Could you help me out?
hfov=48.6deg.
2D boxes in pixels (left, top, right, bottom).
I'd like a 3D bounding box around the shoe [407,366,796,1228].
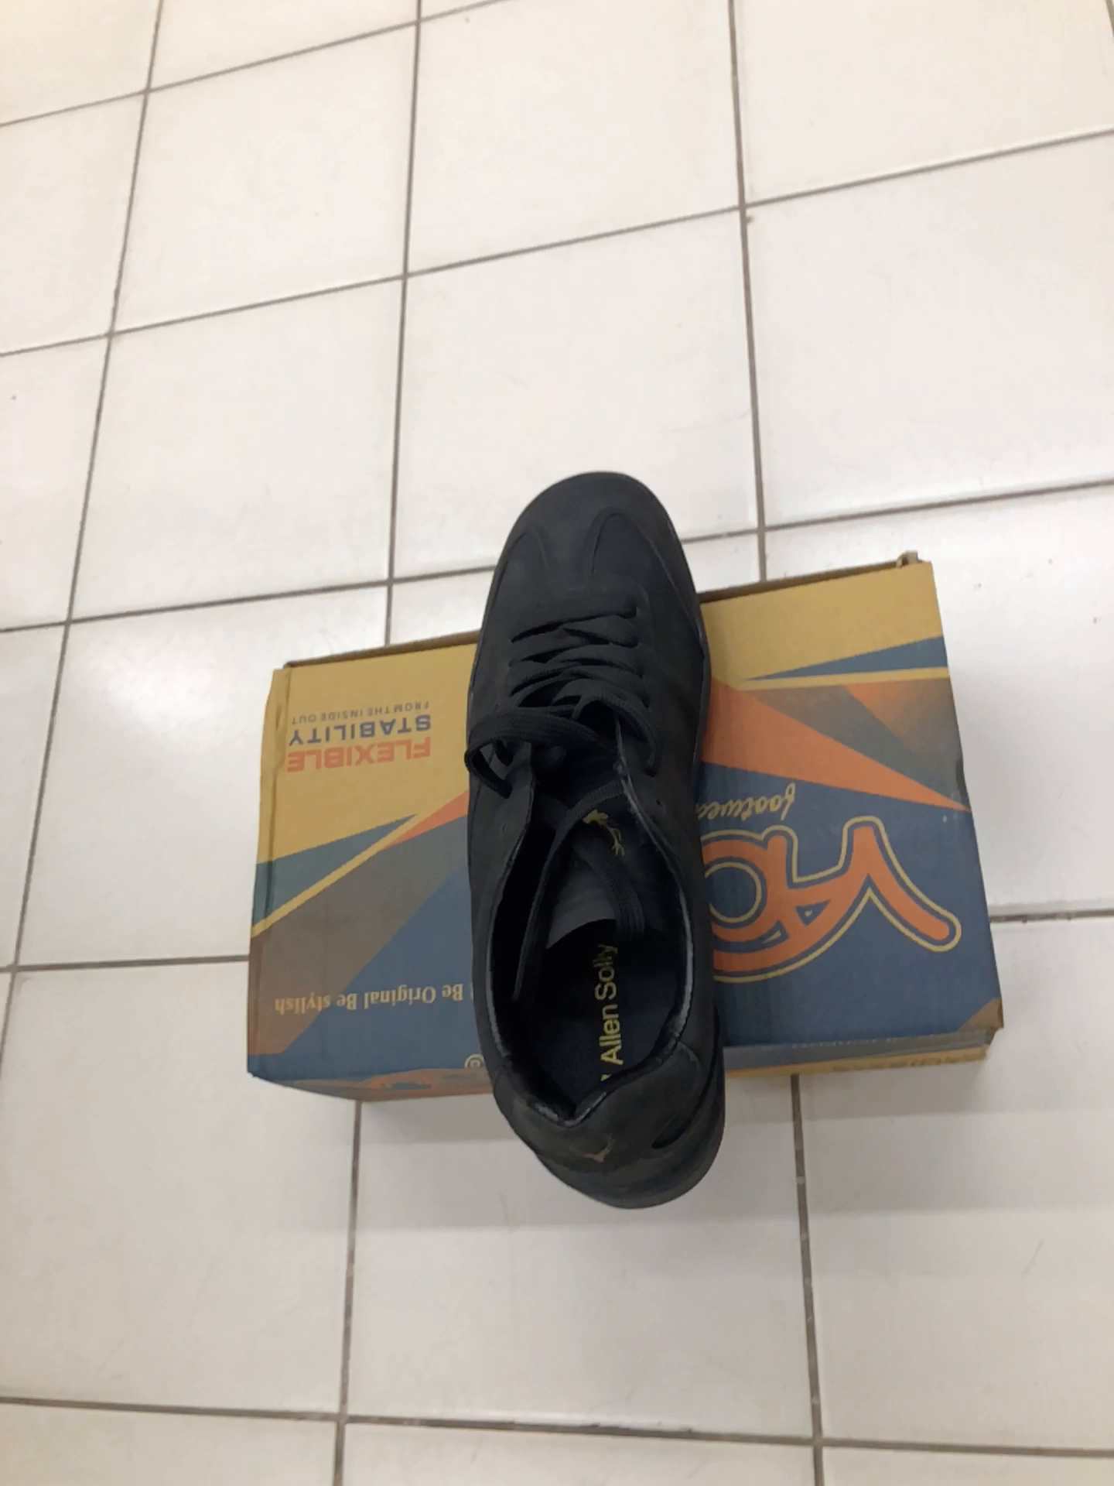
[{"bbox_3d":[0.012,0.016,0.409,0.090,0.080,0.261,-10,69,13],"label":"shoe"}]
